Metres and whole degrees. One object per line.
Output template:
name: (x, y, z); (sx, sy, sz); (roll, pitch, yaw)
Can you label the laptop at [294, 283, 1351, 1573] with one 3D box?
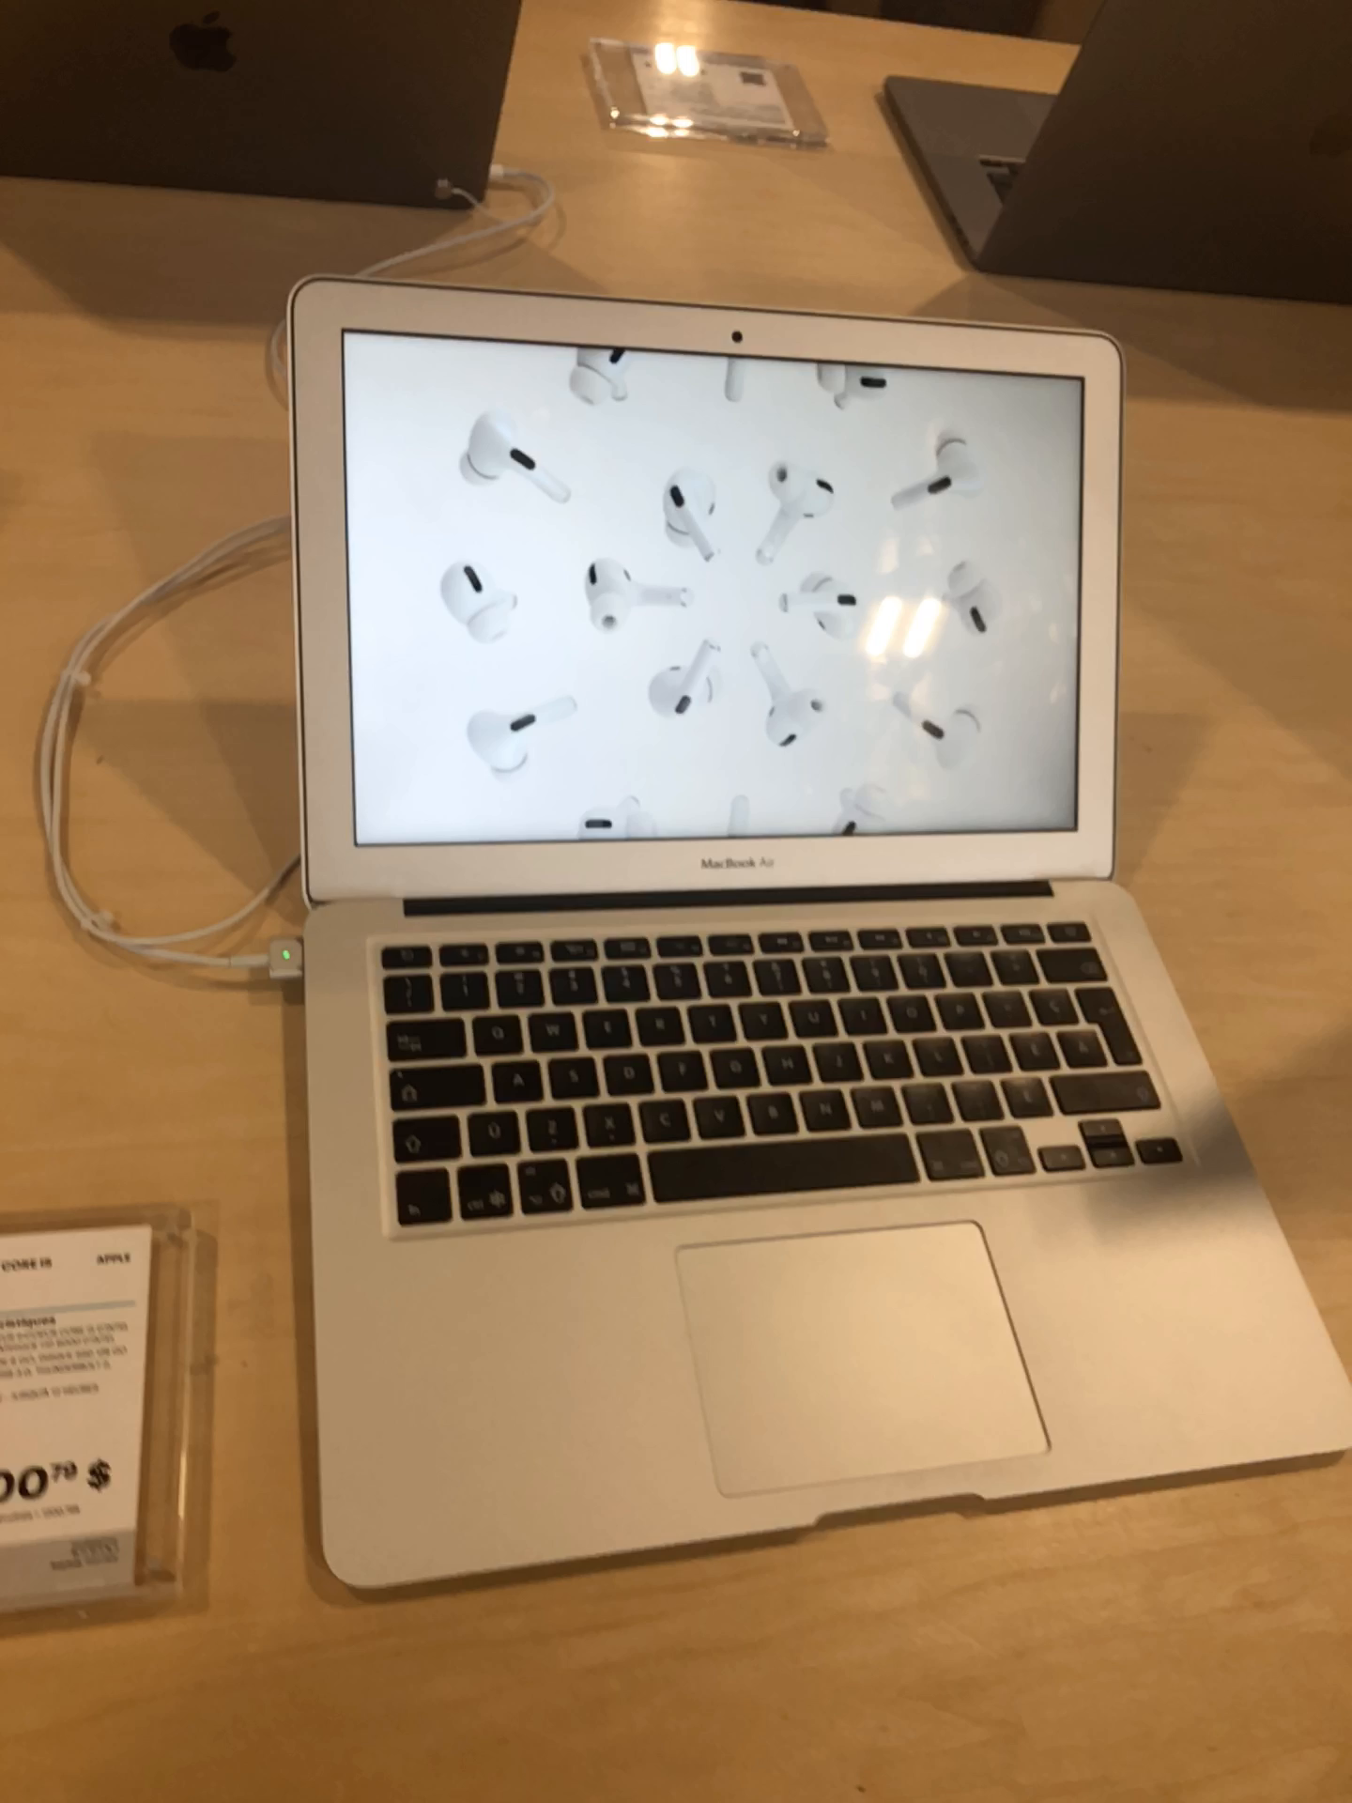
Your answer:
laptop: (0.040, -0.020, 0.480); (0.303, 0.137, 0.371); (-2, 52, -15)
